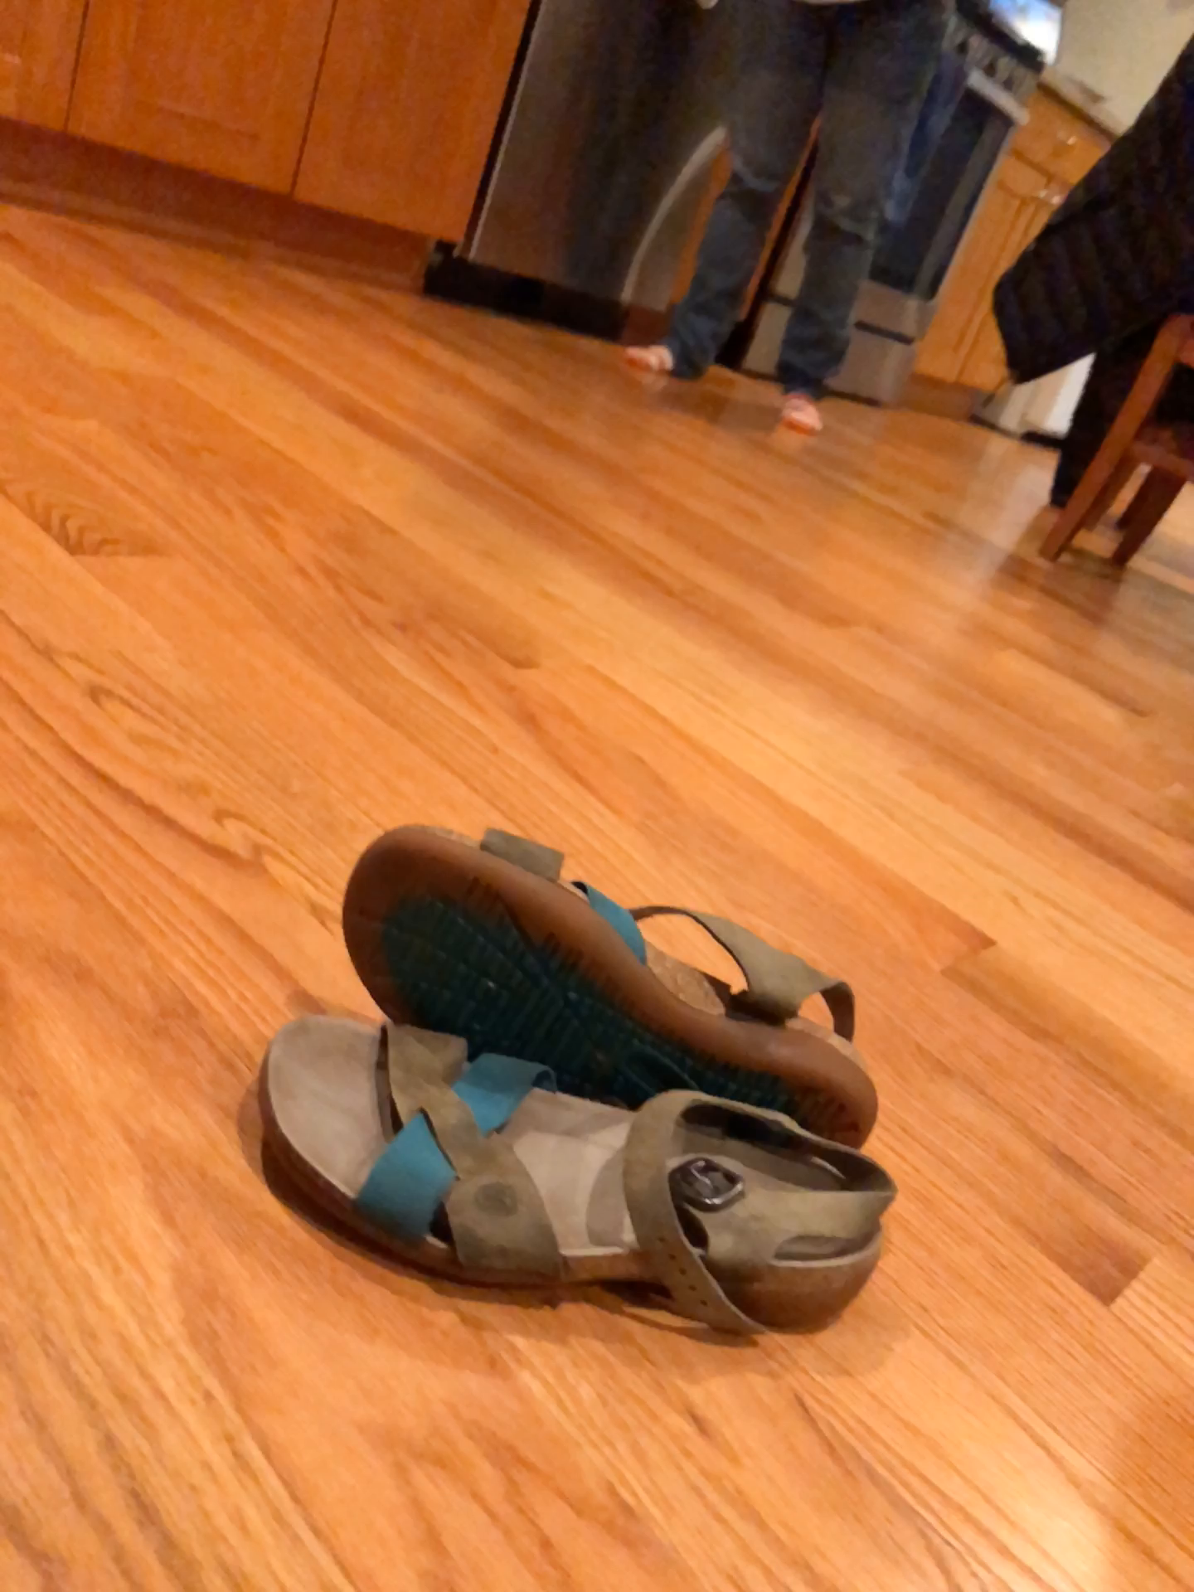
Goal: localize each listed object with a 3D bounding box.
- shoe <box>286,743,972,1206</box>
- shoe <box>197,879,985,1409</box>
[{"bbox_3d":[0.011,0.073,0.525,0.238,0.104,0.065,17,24,-8],"label":"shoe"},{"bbox_3d":[-0.001,0.120,0.467,0.240,0.075,0.105,17,24,-8],"label":"shoe"}]
